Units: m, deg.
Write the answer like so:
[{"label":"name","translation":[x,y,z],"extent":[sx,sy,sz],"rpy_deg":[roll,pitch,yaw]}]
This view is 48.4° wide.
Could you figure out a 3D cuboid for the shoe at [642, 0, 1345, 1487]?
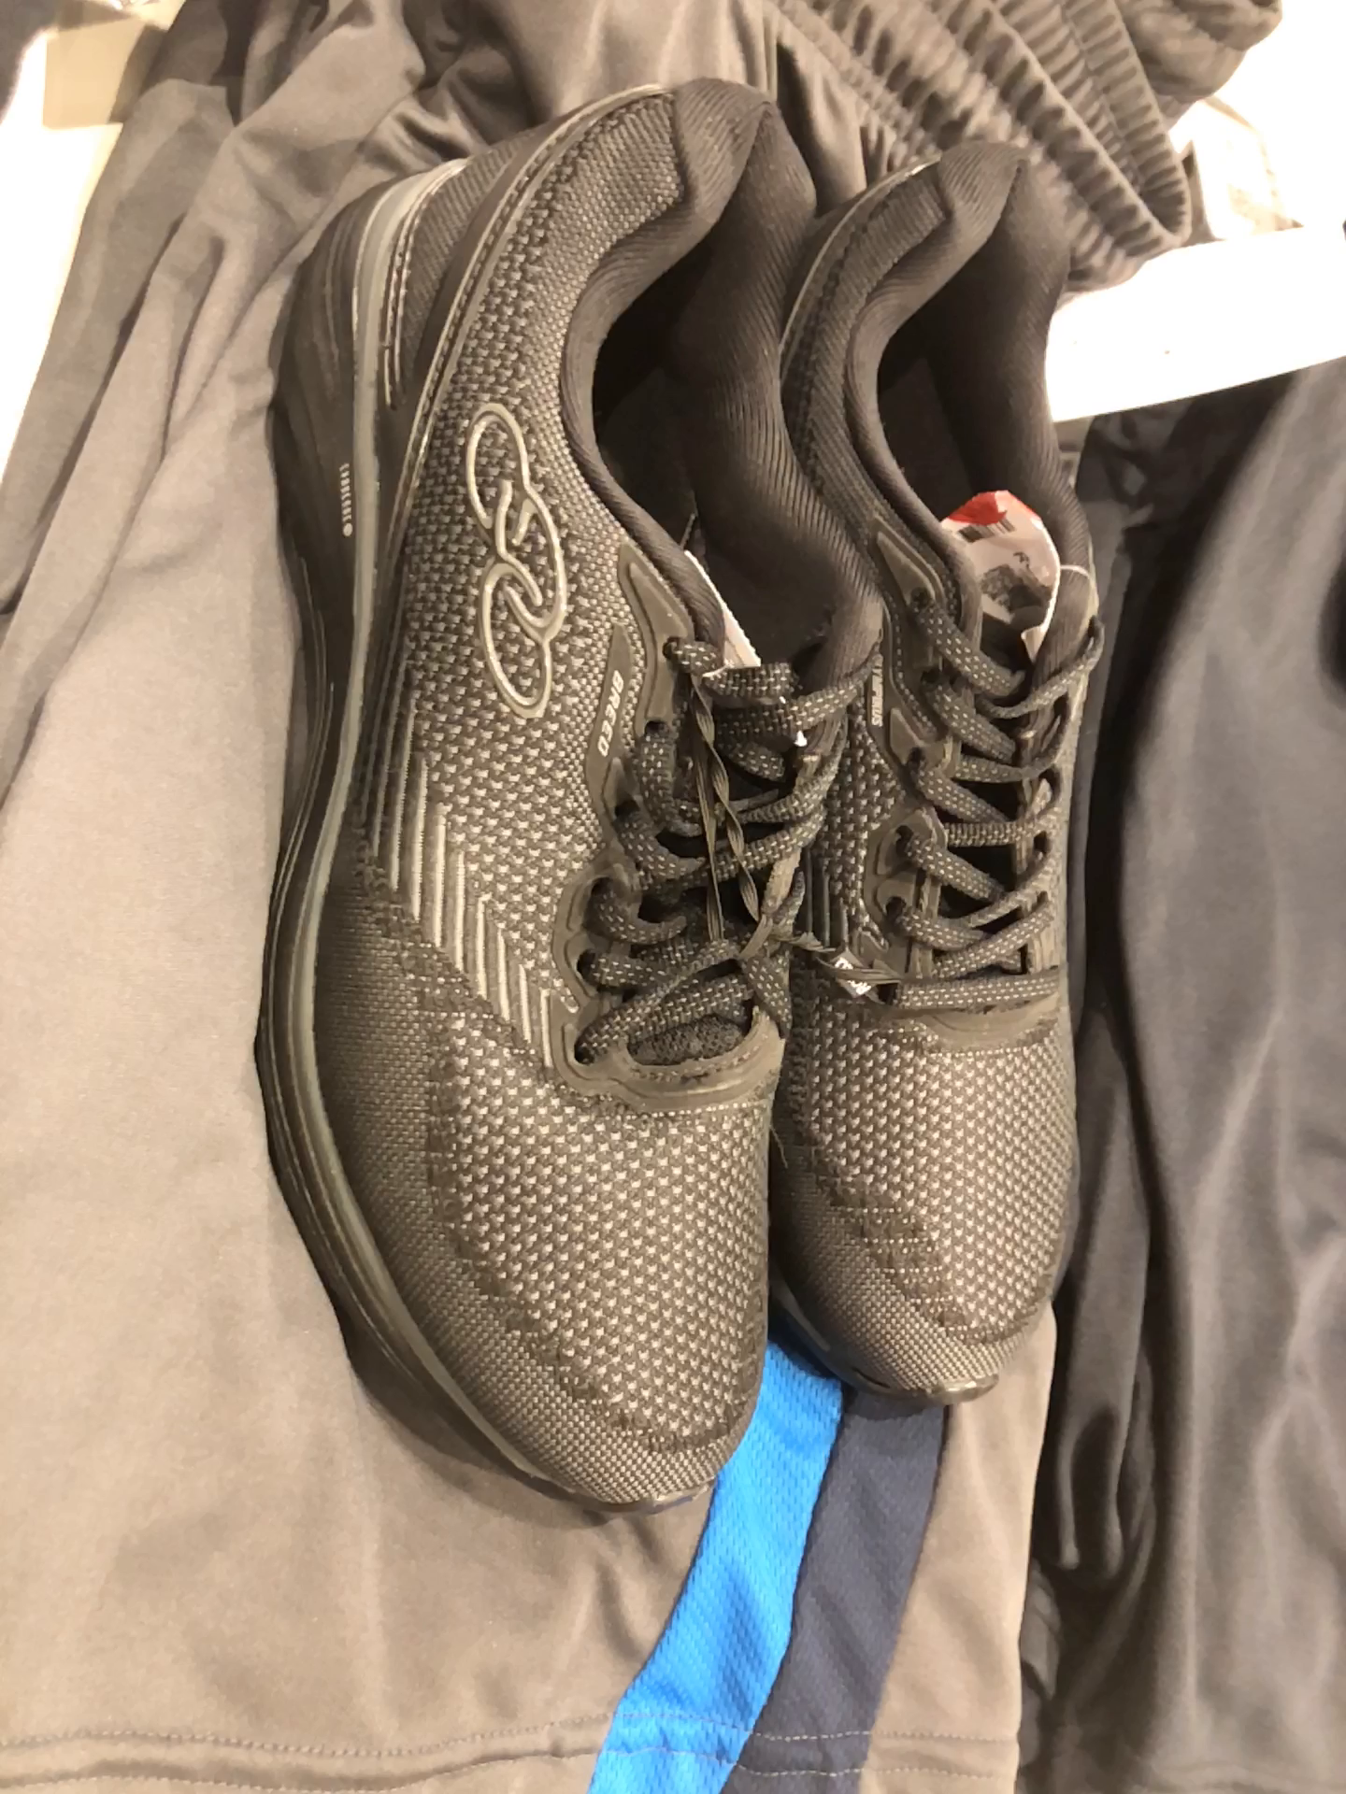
[{"label":"shoe","translation":[0.072,-0.031,0.340],"extent":[0.101,0.099,0.280],"rpy_deg":[1,81,-35]}]

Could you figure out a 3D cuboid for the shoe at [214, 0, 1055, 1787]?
[{"label":"shoe","translation":[-0.015,-0.011,0.279],"extent":[0.101,0.099,0.270],"rpy_deg":[1,81,-35]}]
